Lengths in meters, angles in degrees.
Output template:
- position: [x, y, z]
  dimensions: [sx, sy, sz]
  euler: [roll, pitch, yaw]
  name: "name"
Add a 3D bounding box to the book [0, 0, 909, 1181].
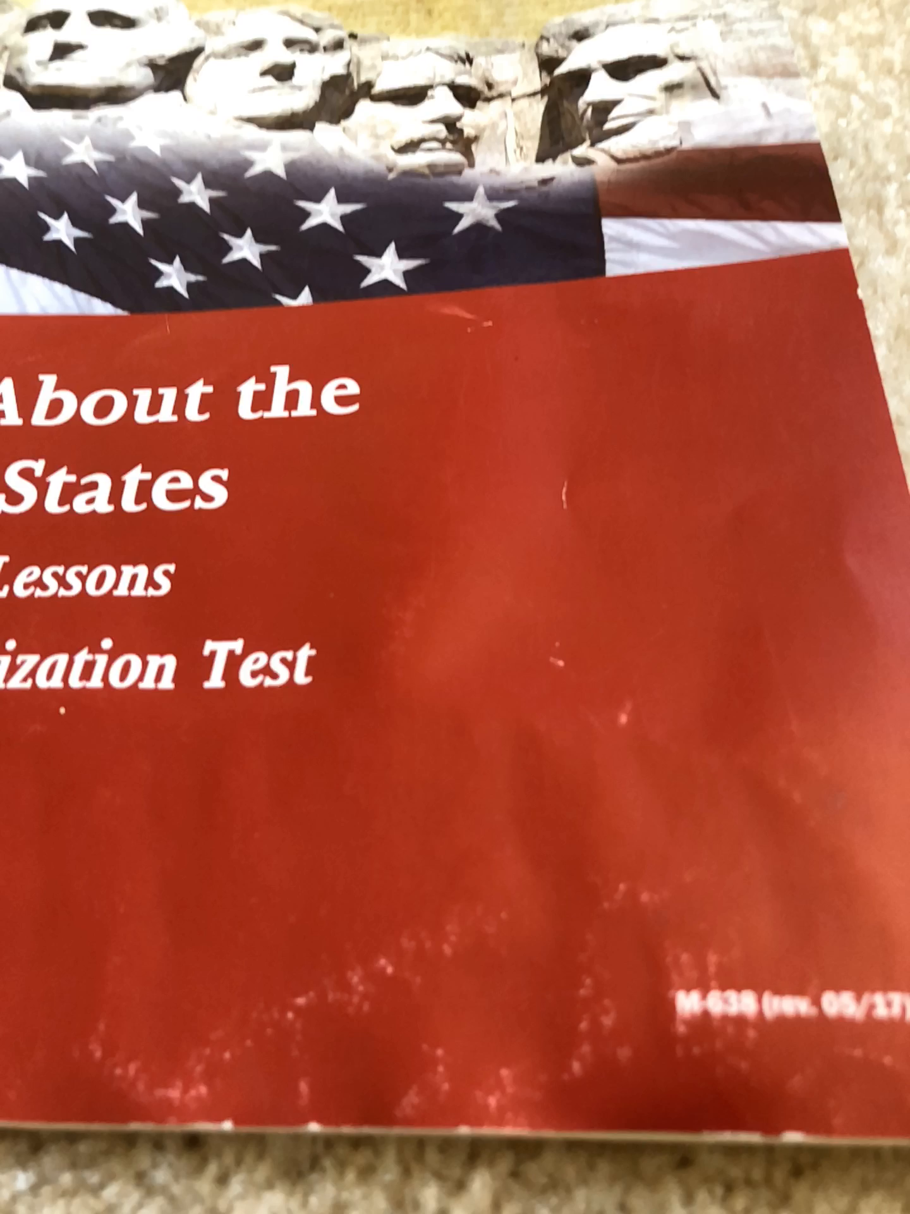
- position: [-0.033, -0.051, 0.193]
  dimensions: [0.208, 0.028, 0.274]
  euler: [-1, 58, 5]
  name: "book"
